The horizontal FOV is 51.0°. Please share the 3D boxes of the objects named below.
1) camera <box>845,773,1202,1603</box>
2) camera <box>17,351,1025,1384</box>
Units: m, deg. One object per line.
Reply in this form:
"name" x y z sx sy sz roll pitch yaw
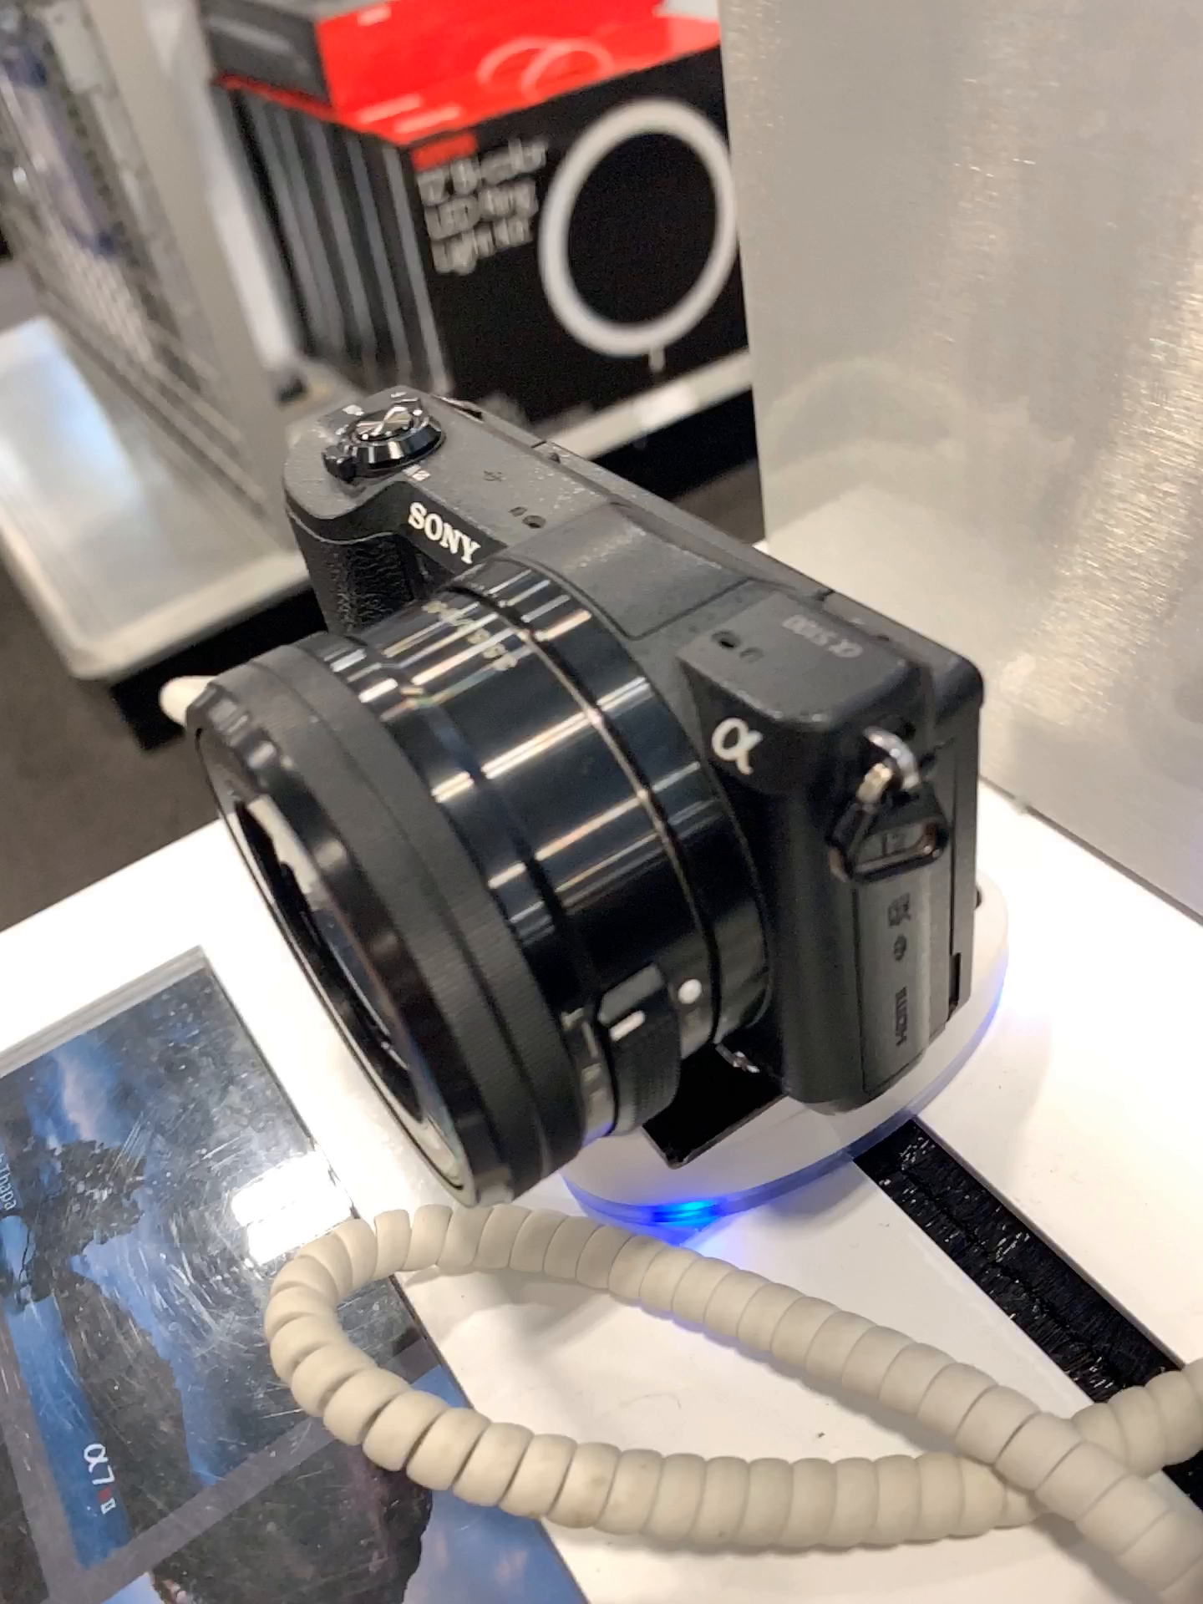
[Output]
"camera" 0.079 0.070 0.035 0.071 0.060 0.137 -25 43 -19
"camera" -0.015 -0.003 0.163 0.066 0.060 0.113 -32 45 -19
